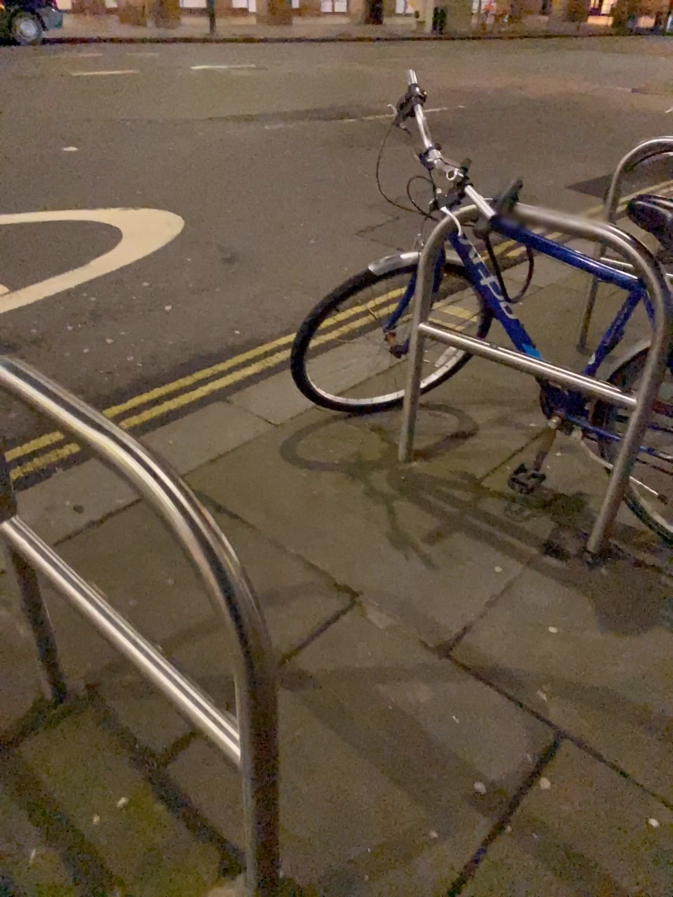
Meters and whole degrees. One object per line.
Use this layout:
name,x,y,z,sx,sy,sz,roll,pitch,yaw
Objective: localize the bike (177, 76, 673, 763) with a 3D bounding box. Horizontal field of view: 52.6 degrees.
bike,0.496,-0.198,1.737,1.596,1.108,0.658,21,36,24
